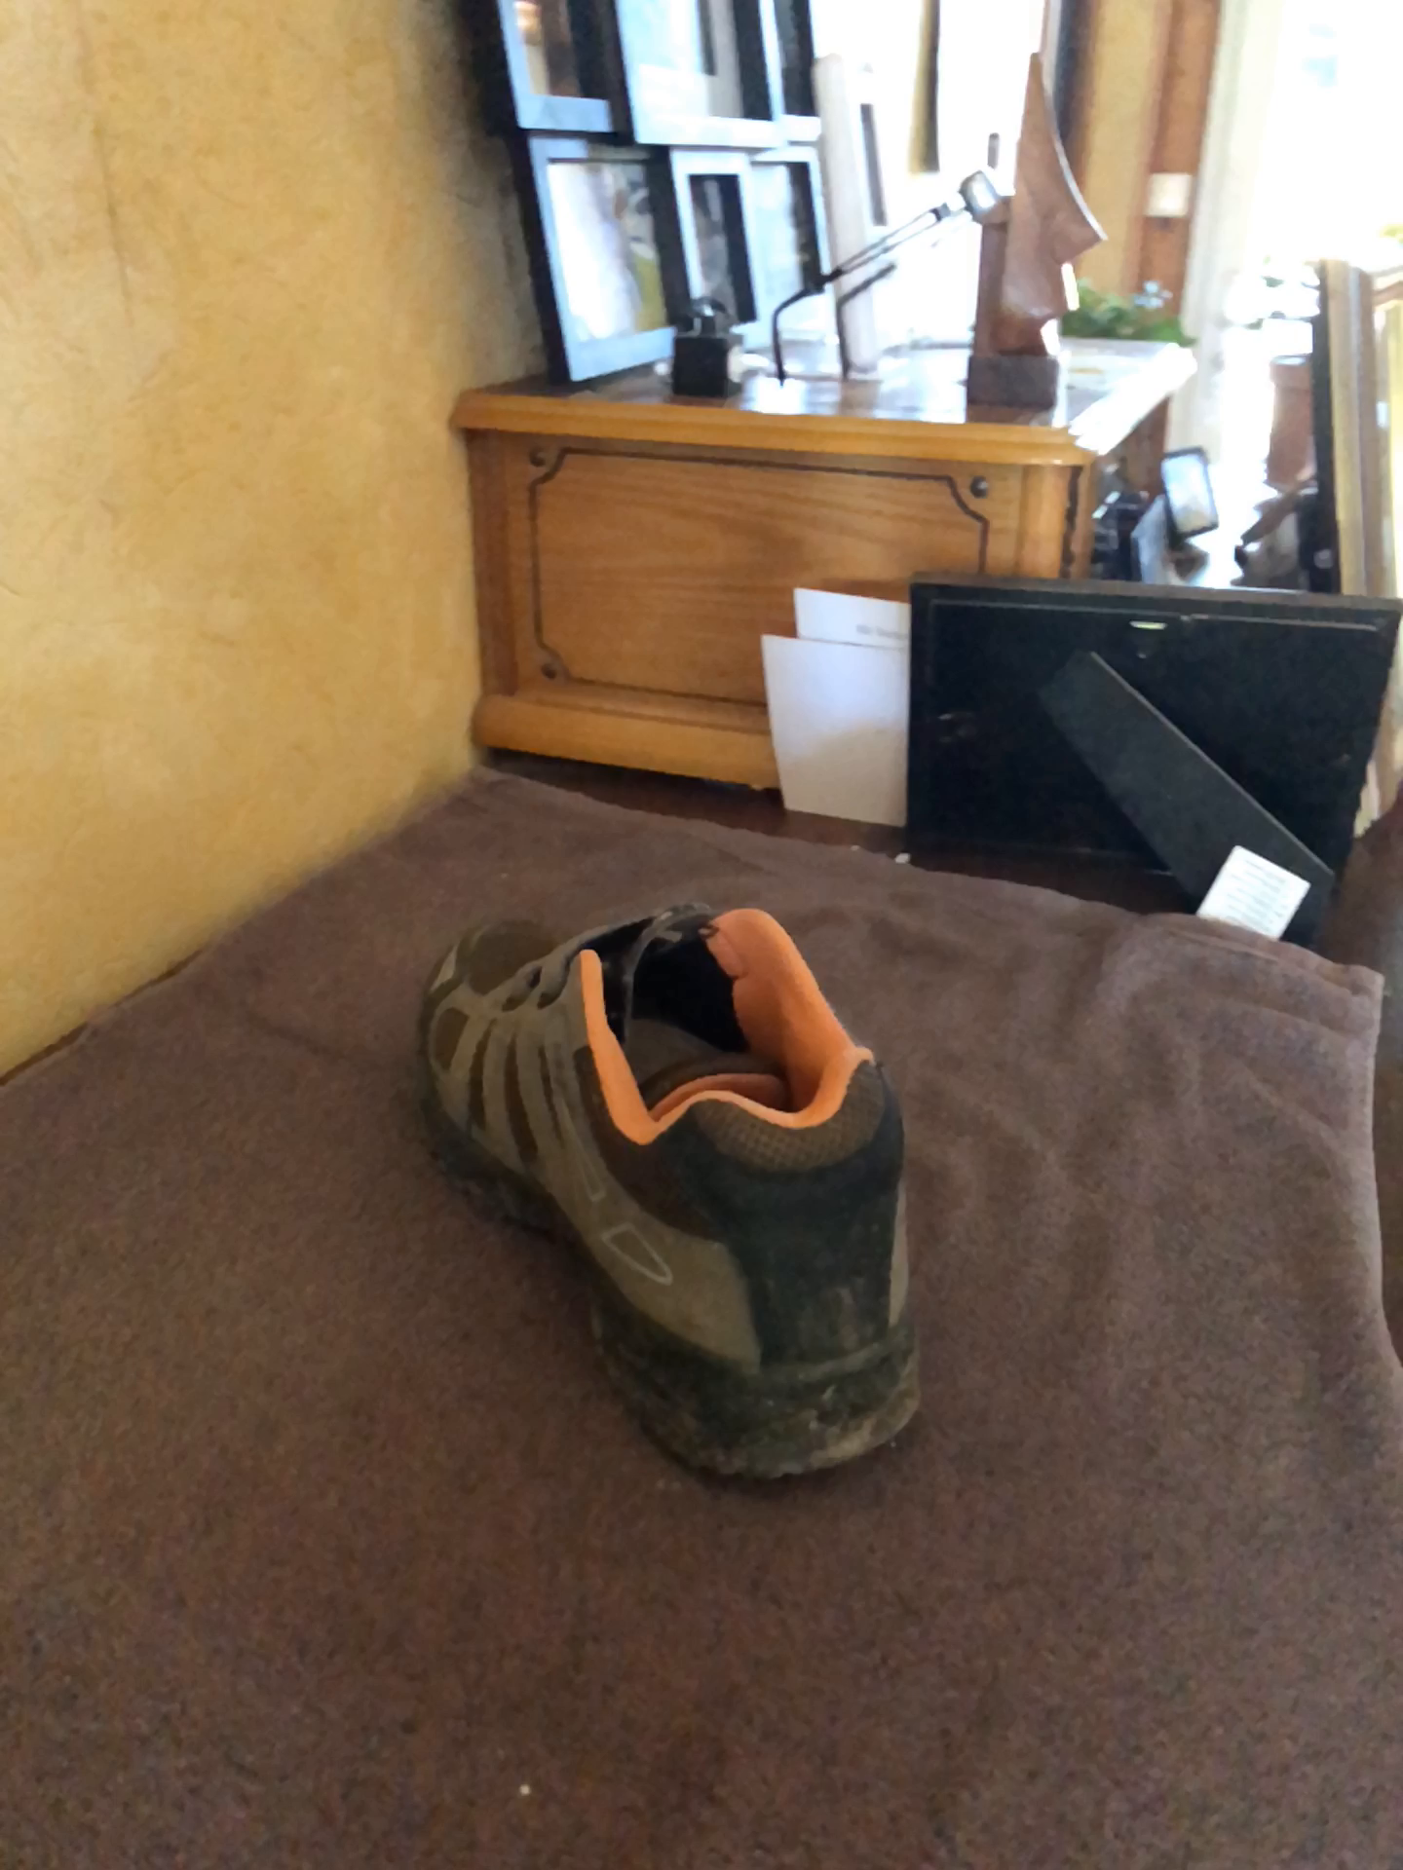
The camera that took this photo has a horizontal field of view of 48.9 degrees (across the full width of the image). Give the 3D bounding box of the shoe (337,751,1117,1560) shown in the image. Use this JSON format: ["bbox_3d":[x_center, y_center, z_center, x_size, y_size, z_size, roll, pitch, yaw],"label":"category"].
[{"bbox_3d":[-0.013,0.040,0.477,0.110,0.099,0.271,-13,29,-26],"label":"shoe"}]
